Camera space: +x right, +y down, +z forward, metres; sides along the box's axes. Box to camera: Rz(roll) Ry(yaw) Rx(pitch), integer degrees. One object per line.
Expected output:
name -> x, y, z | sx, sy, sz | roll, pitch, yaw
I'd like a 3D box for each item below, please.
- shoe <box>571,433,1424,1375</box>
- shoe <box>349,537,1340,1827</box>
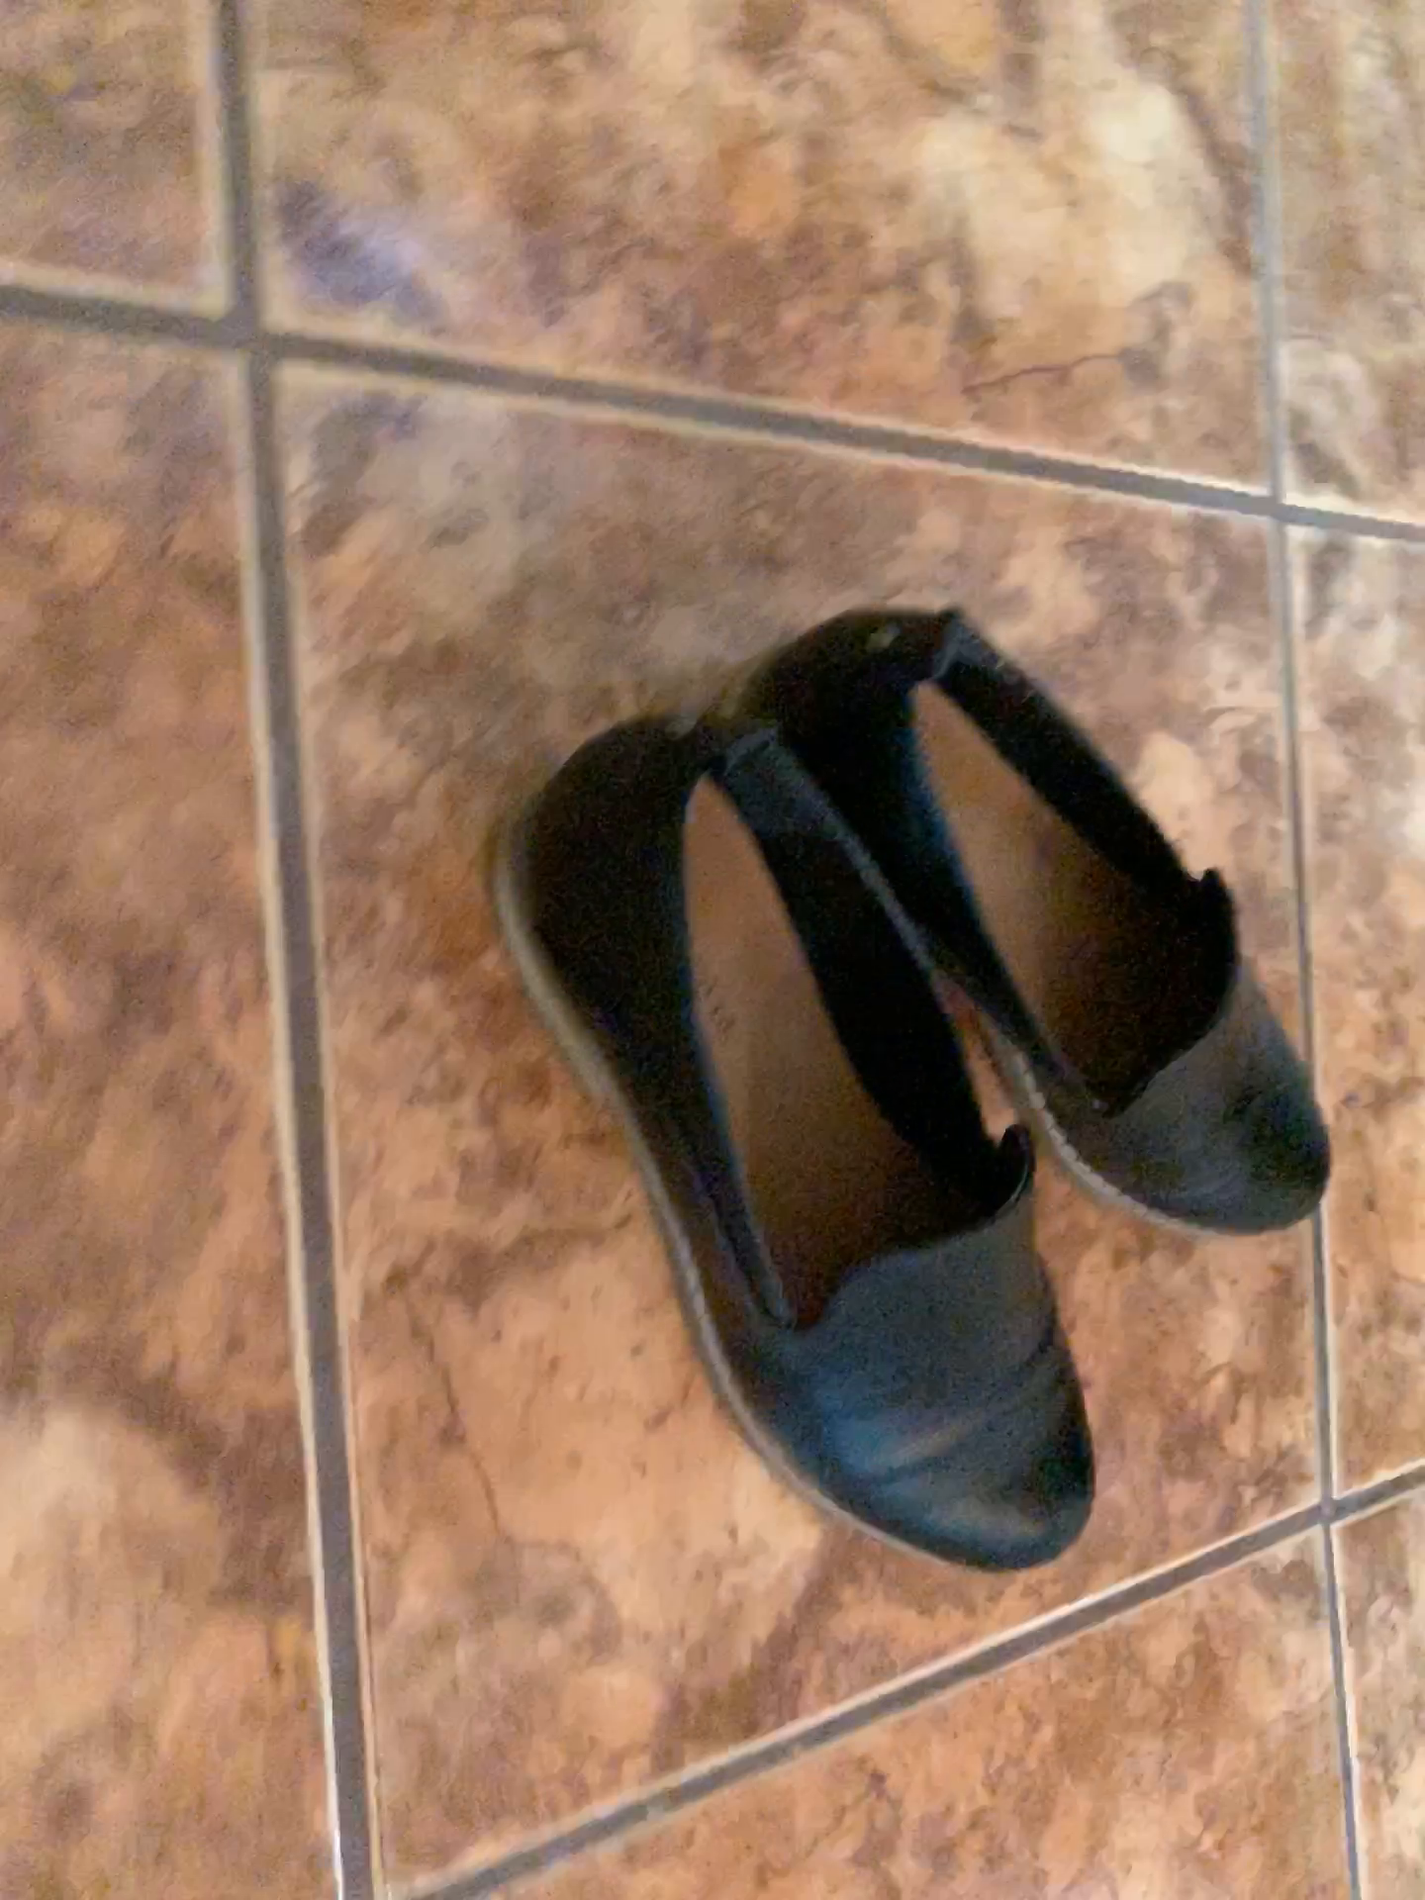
shoe -> 0.097, 0.003, 0.371 | 0.256, 0.070, 0.088 | 39, 68, -25
shoe -> 0.037, 0.054, 0.319 | 0.086, 0.070, 0.256 | -39, 108, -28
